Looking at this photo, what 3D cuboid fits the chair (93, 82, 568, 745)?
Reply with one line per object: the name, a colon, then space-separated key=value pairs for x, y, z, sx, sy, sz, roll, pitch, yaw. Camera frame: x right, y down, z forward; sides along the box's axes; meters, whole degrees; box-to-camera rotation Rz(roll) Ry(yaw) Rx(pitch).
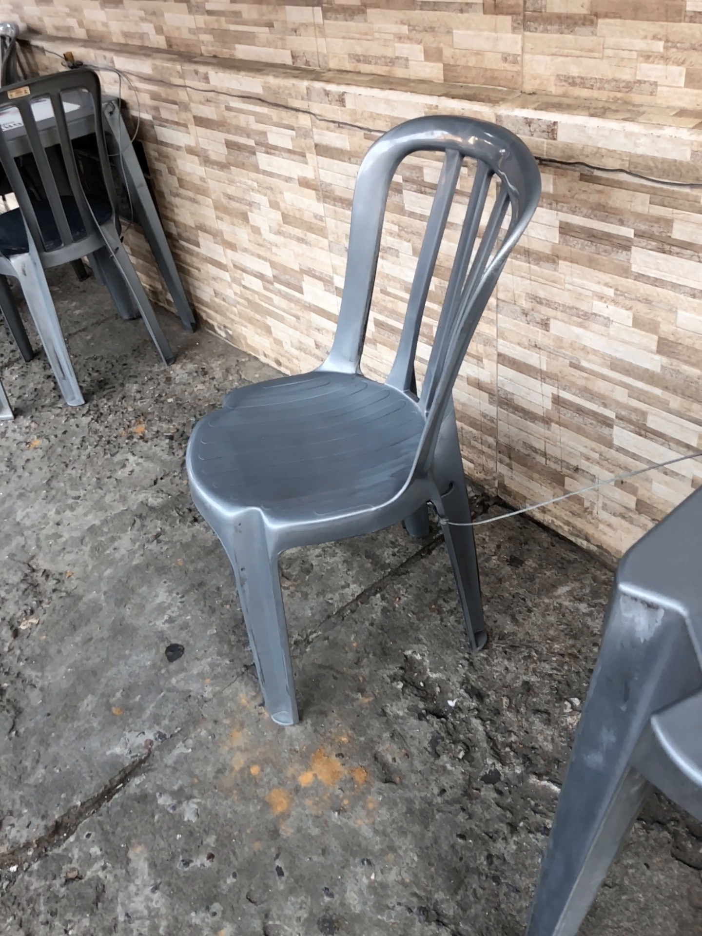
chair: x=-0.018 y=-0.070 z=1.208 sx=0.500 sy=0.834 sz=0.443 roll=-15 pitch=37 yaw=-9
